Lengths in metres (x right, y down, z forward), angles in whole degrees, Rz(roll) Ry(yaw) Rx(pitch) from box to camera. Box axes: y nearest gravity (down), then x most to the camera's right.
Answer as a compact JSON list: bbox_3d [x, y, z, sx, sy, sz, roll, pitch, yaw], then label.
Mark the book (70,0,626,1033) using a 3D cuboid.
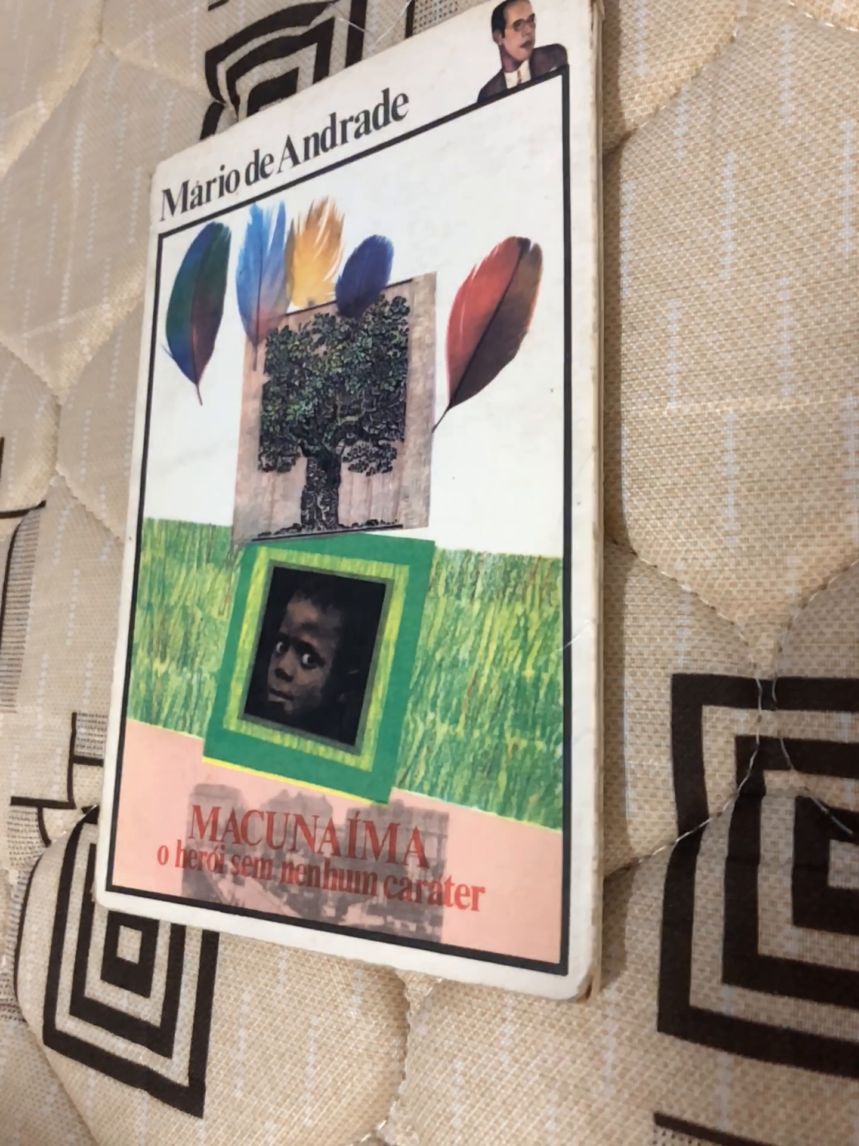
[{"bbox_3d":[-0.022,-0.015,0.213,0.130,0.020,0.190,-4,79,34],"label":"book"}]
